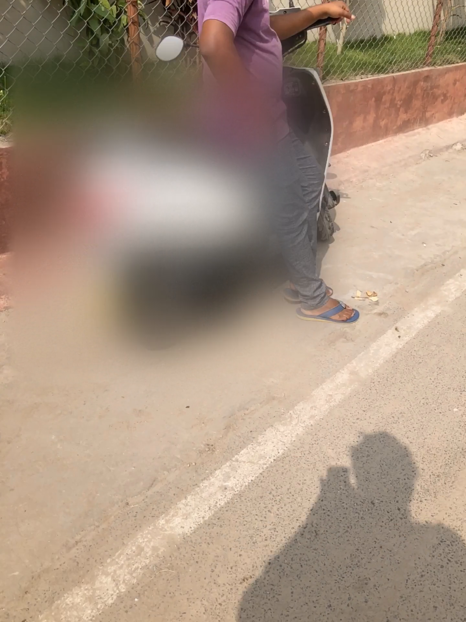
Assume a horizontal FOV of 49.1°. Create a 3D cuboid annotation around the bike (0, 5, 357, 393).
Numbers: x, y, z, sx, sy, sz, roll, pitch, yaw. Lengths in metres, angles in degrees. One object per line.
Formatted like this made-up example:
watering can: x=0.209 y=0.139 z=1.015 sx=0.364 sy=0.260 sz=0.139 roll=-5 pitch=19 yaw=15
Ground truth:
bike: x=-0.093 y=-0.639 z=2.243 sx=0.617 sy=1.113 sz=1.561 roll=20 pitch=39 yaw=25
